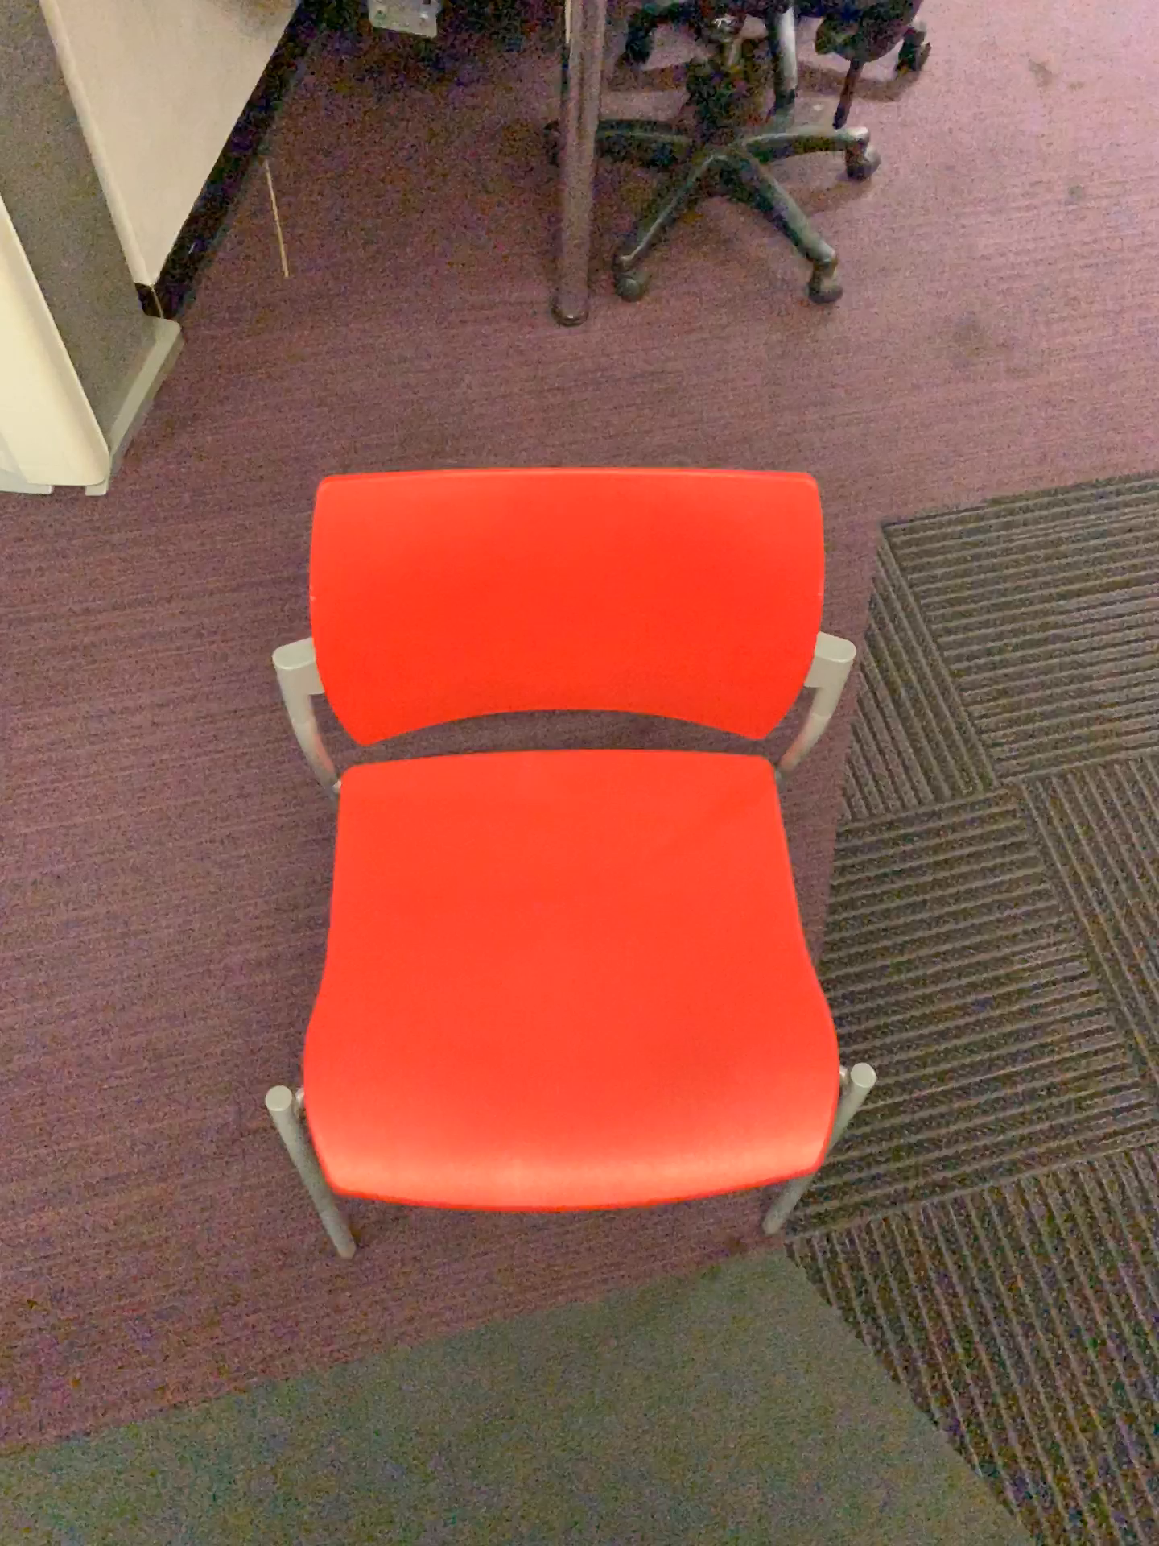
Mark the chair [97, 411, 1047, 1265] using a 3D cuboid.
[{"bbox_3d":[-0.001,0.122,1.106,0.540,0.686,0.563,1,62,0],"label":"chair"}]
